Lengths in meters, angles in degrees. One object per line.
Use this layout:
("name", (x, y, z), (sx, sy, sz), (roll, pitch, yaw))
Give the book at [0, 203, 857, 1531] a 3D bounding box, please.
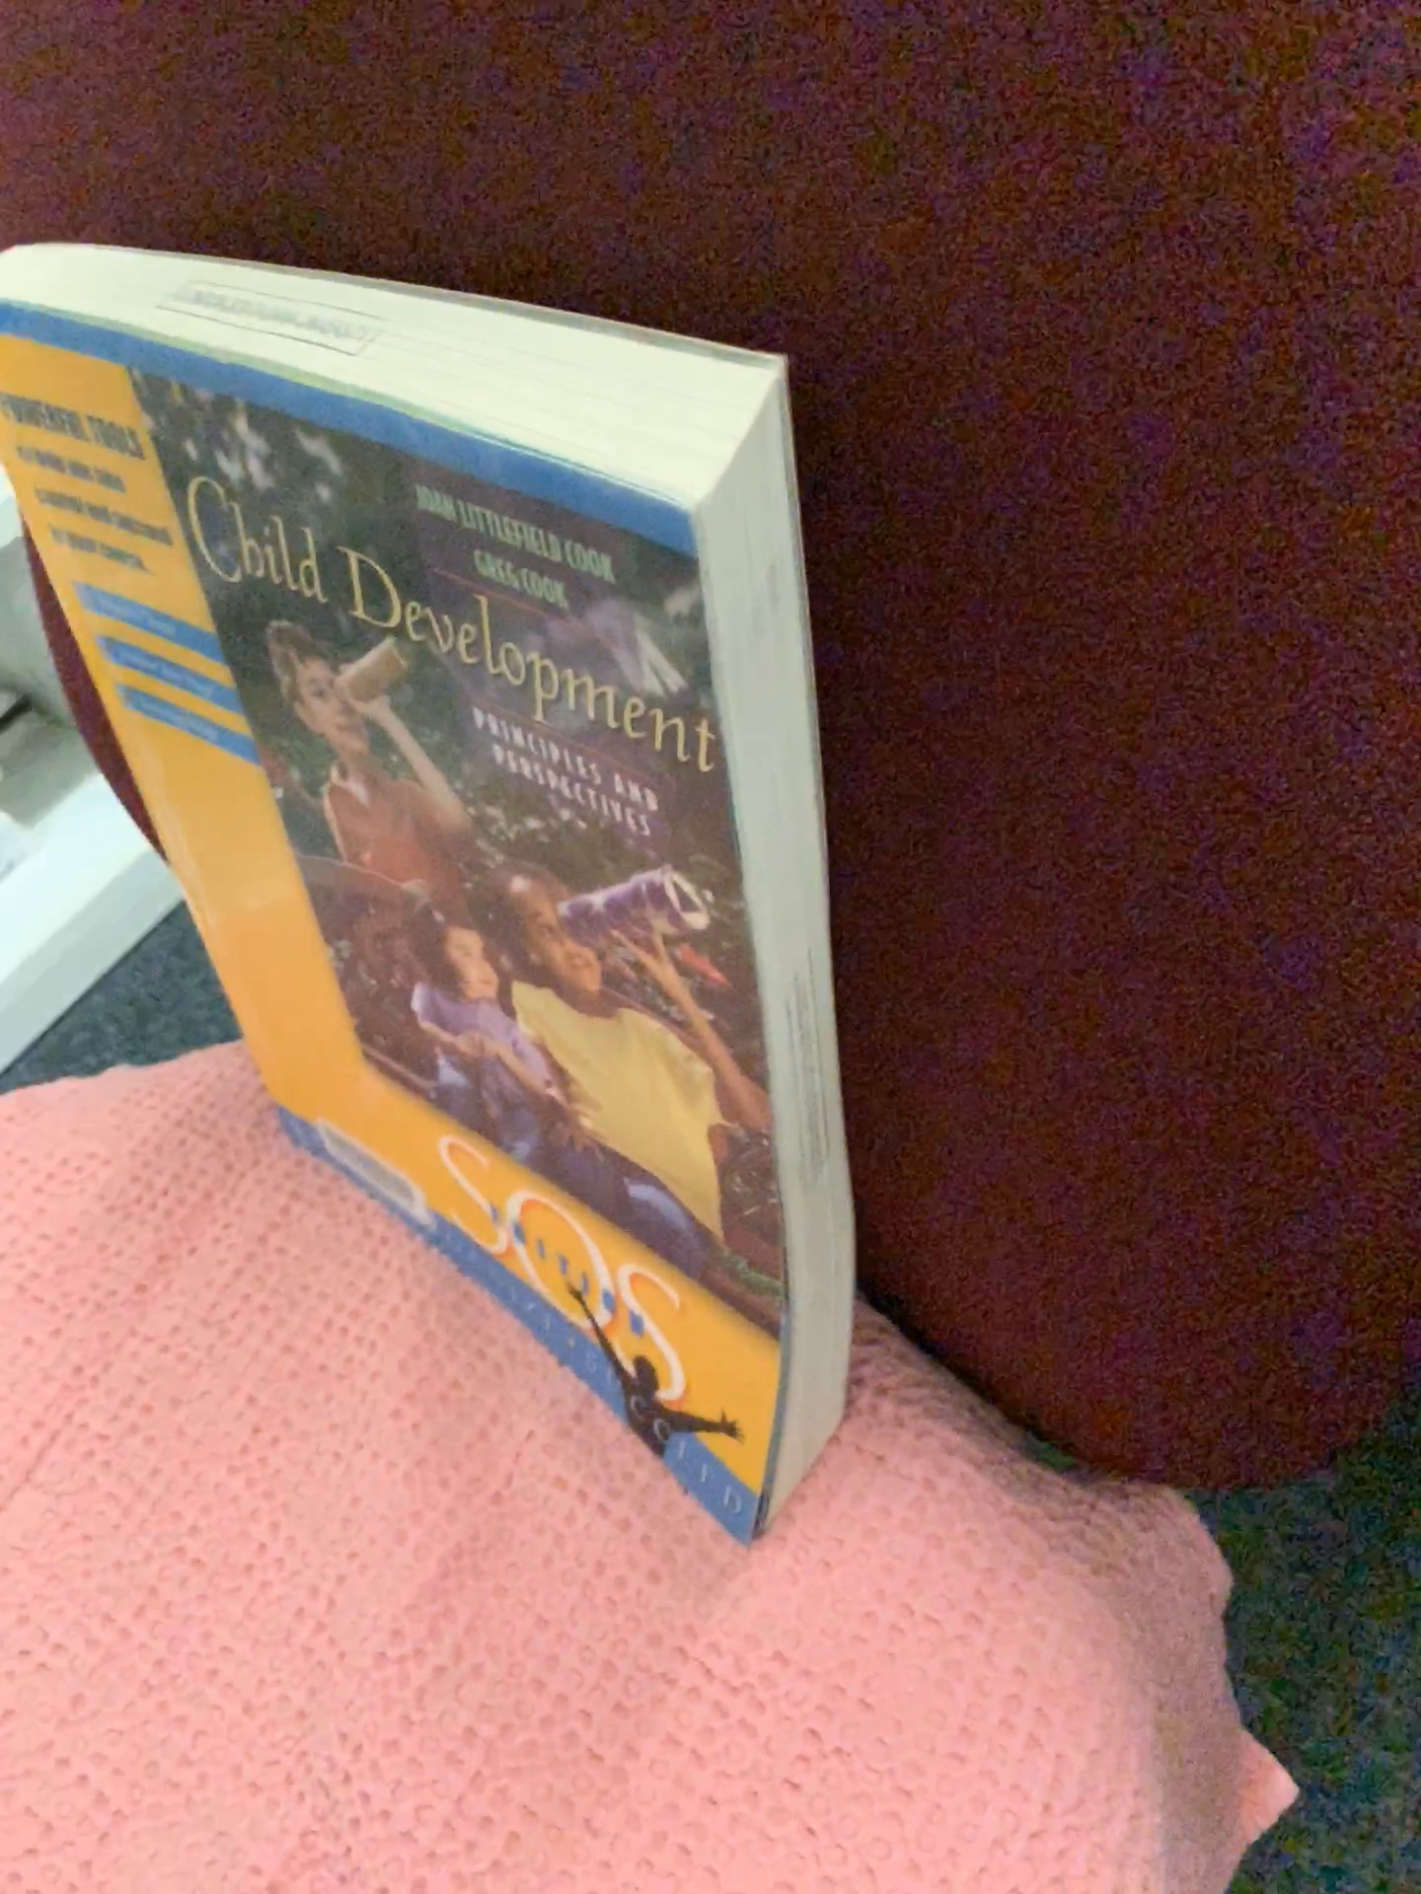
("book", (-0.072, -0.016, 0.344), (0.226, 0.258, 0.050), (26, 48, 32))
